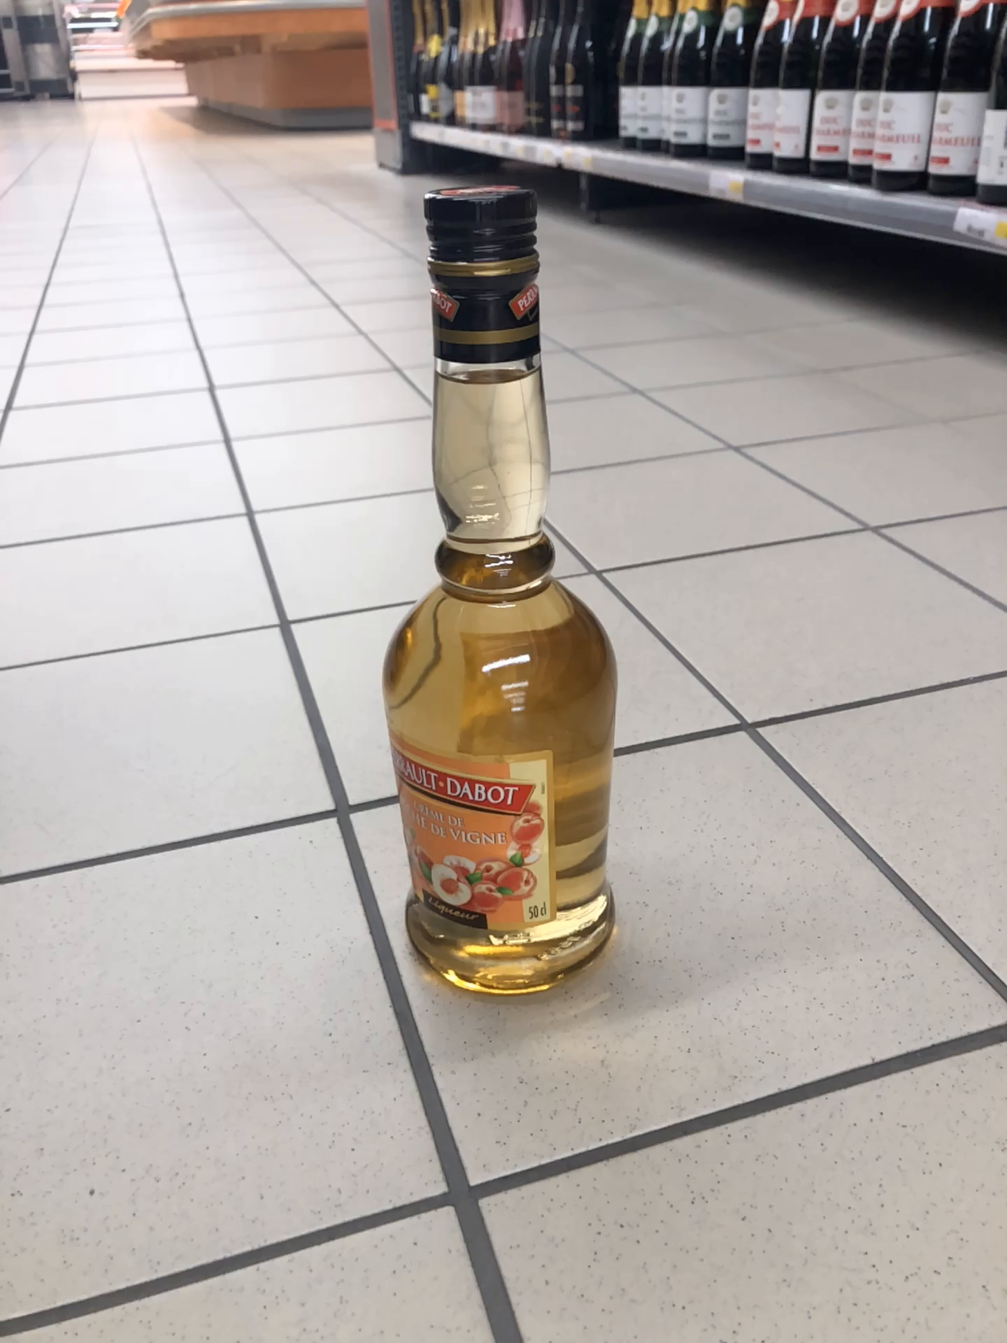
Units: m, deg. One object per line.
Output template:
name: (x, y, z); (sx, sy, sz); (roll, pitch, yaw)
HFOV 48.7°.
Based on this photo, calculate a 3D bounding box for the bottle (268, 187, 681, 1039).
bottle: (-0.002, -0.017, 0.356); (0.080, 0.249, 0.080); (-2, 27, 1)
